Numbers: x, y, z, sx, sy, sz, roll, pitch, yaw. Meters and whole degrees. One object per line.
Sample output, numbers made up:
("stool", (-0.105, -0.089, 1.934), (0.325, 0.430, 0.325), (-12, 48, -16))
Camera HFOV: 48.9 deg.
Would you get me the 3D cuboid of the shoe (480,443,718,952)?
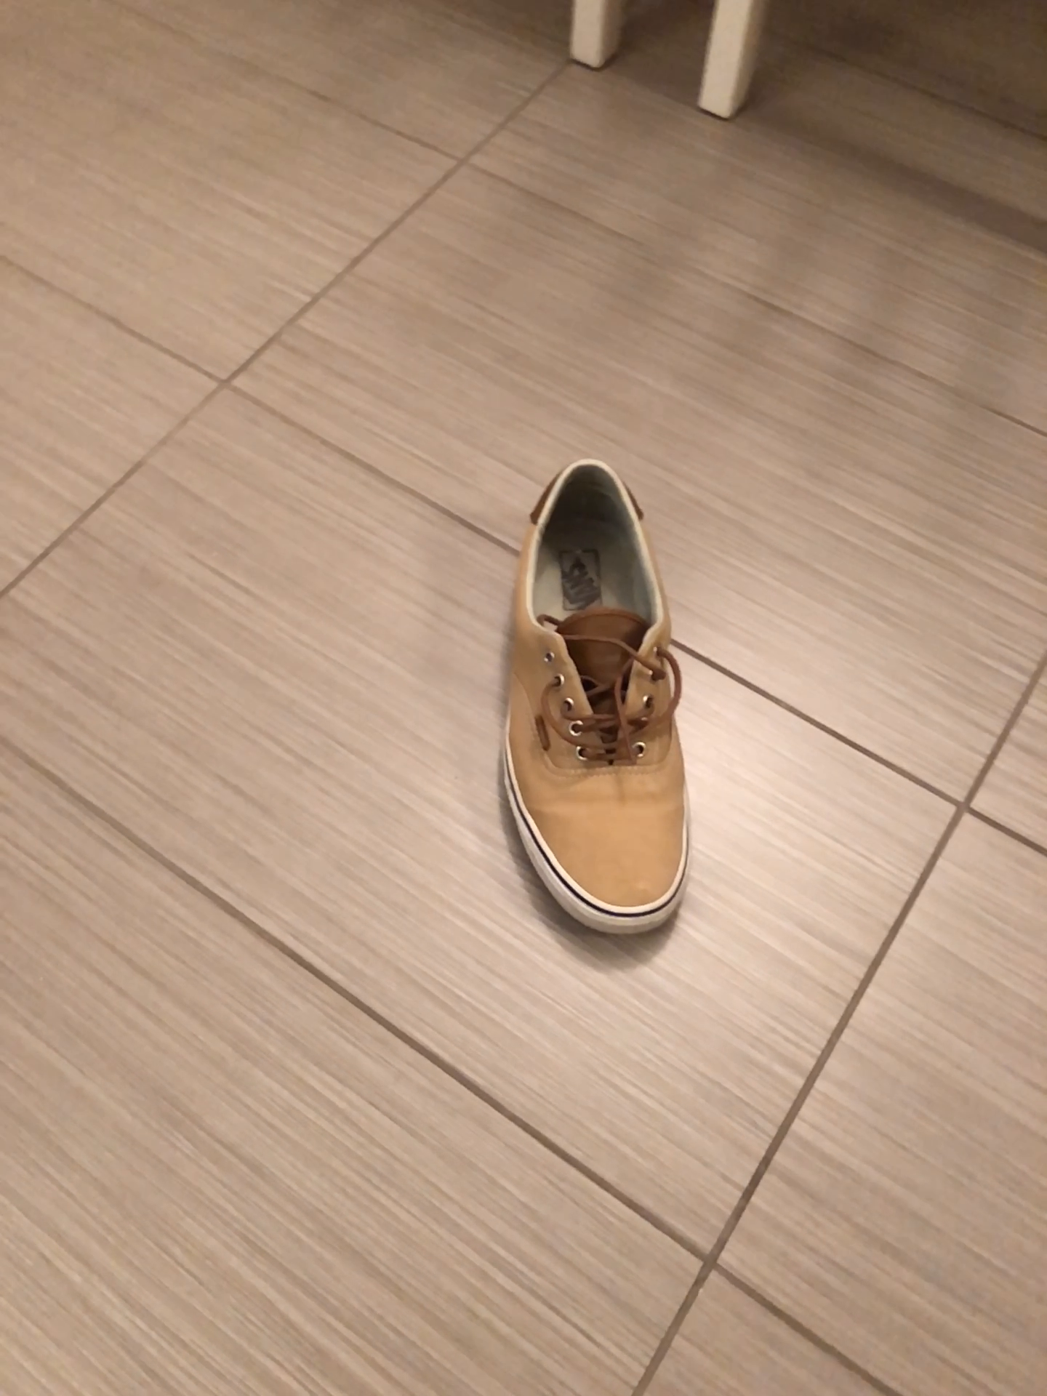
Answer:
("shoe", (0.038, -0.010, 0.708), (0.110, 0.070, 0.311), (-4, 61, -1))
